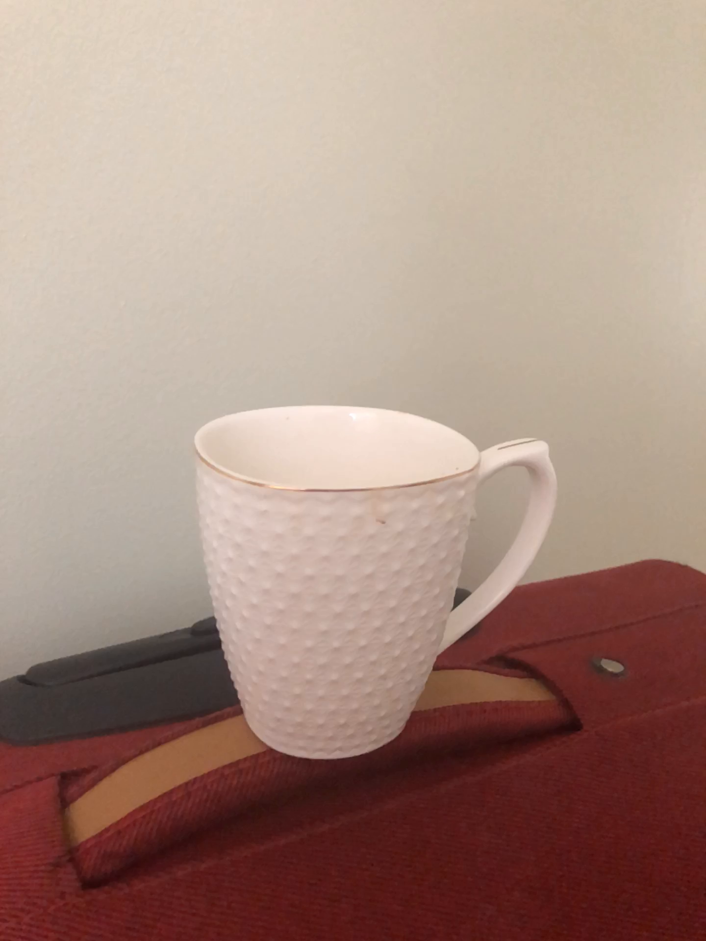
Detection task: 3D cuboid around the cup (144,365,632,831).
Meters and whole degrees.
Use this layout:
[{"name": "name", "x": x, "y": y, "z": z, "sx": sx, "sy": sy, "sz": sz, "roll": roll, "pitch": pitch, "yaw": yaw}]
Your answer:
[{"name": "cup", "x": 0.008, "y": 0.025, "z": 0.230, "sx": 0.112, "sy": 0.084, "sz": 0.075, "roll": -12, "pitch": 25, "yaw": -32}]
